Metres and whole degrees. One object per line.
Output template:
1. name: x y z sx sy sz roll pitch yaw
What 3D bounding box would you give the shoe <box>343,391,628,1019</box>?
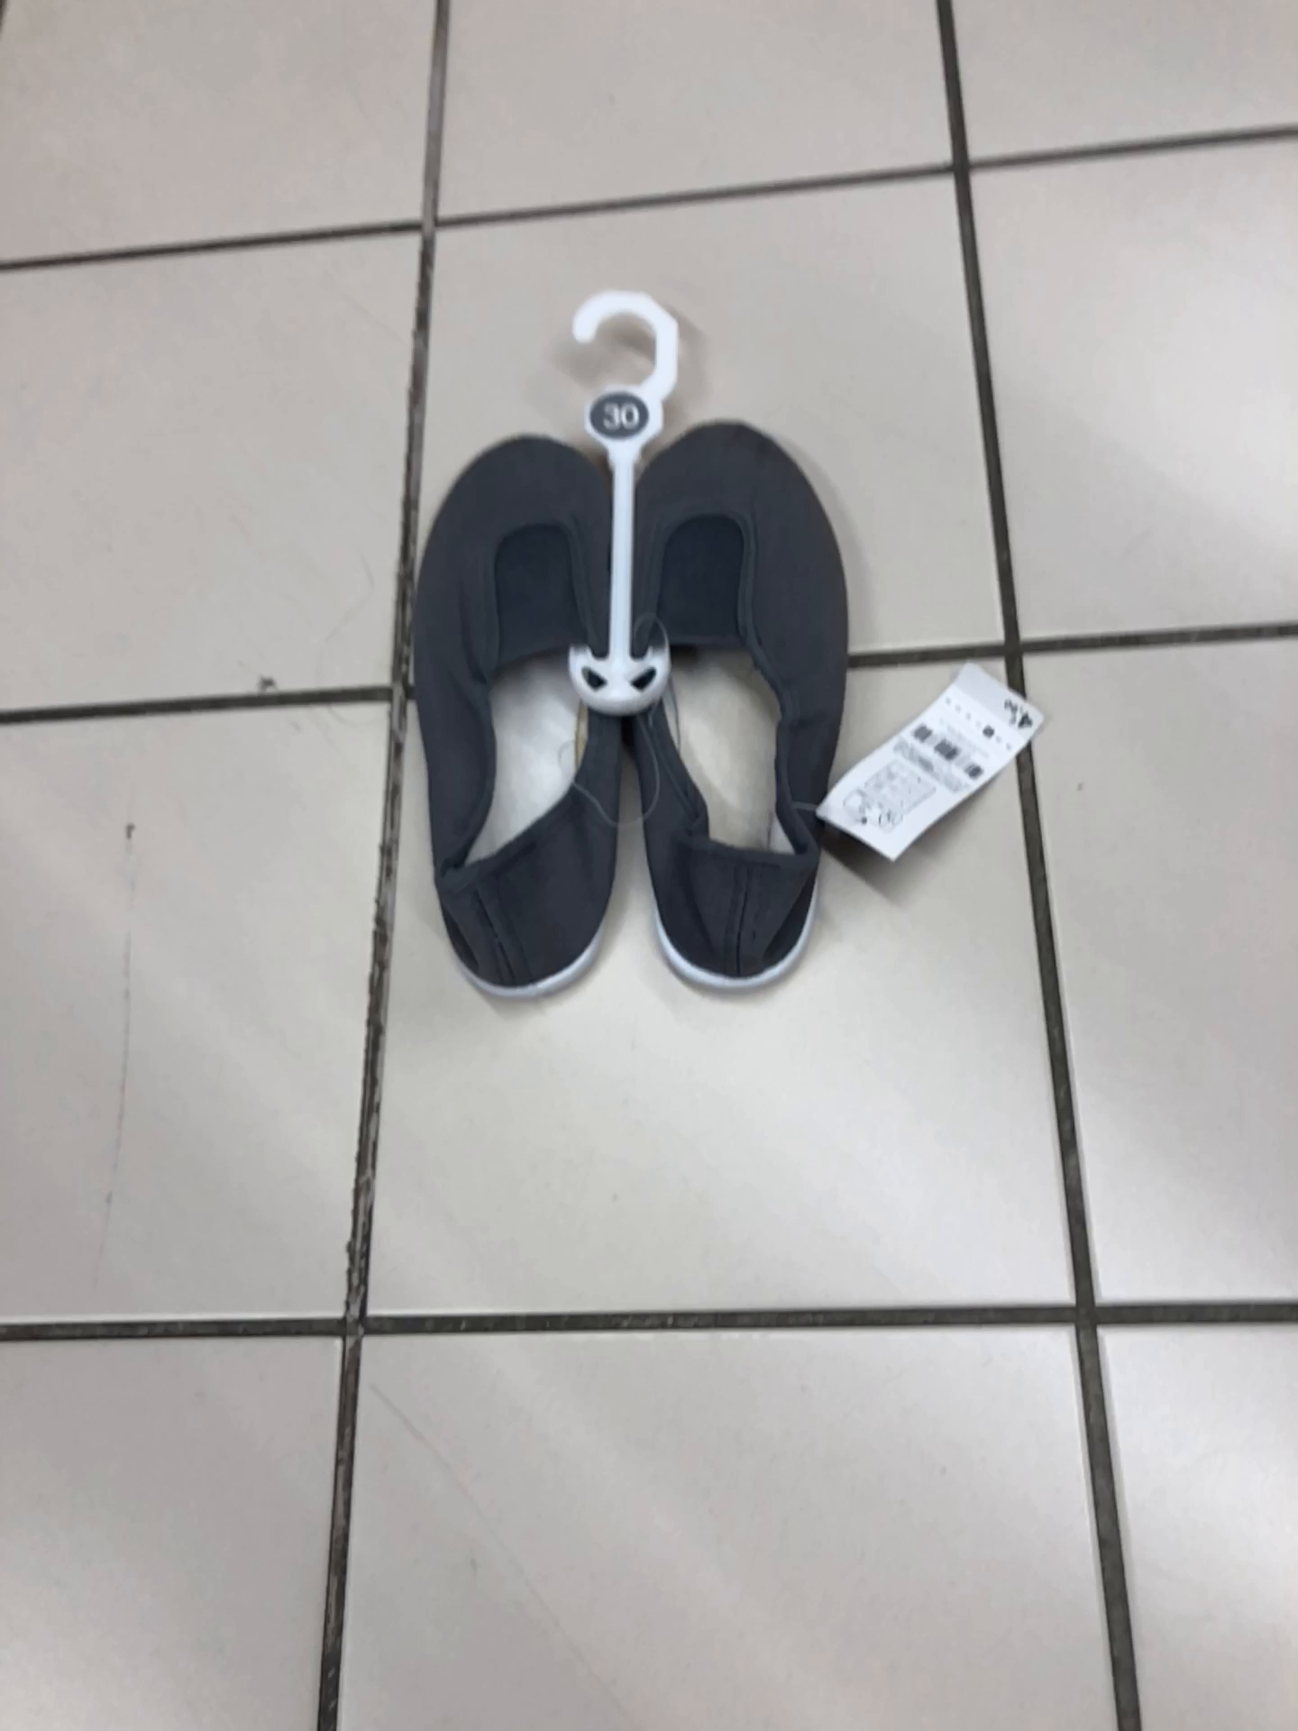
1. shoe: -0.045 -0.051 0.437 0.070 0.046 0.186 -3 68 7

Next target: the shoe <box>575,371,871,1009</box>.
1. shoe: 0.022 -0.054 0.430 0.077 0.046 0.186 -2 68 7
